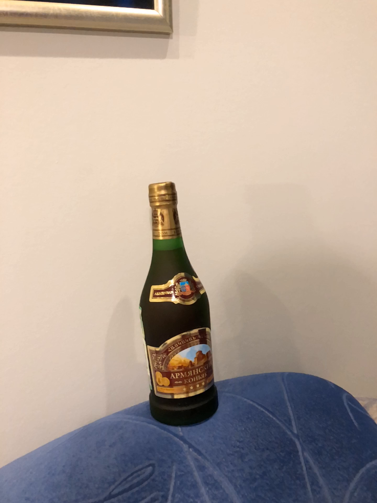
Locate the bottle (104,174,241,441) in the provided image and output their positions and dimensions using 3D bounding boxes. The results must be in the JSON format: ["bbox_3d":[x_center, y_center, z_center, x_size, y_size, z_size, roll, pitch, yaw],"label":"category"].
[{"bbox_3d":[-0.016,0.049,0.433,0.090,0.243,0.080,-11,10,-28],"label":"bottle"}]
